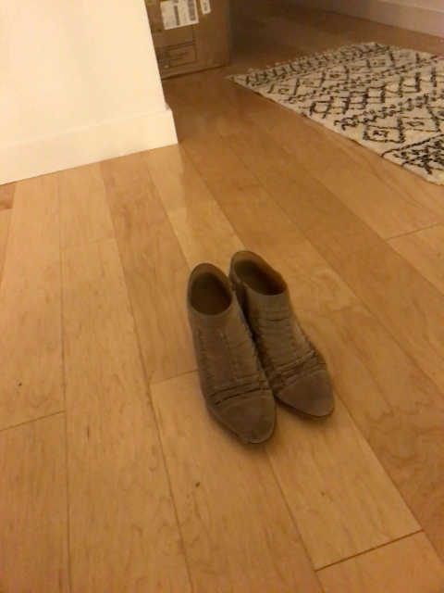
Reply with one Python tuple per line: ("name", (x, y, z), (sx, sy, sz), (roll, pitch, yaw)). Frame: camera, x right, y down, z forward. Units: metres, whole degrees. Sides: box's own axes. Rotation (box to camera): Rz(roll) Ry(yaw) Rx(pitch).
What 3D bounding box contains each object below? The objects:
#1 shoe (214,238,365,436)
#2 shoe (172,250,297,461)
("shoe", (0.086, 0.043, 0.694), (0.100, 0.119, 0.272), (-17, 38, -10))
("shoe", (0.010, 0.068, 0.689), (0.110, 0.129, 0.272), (-13, 38, -4))
